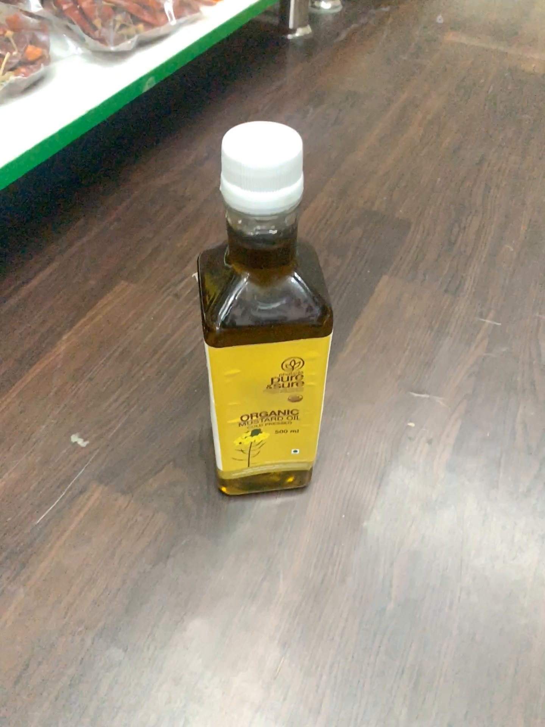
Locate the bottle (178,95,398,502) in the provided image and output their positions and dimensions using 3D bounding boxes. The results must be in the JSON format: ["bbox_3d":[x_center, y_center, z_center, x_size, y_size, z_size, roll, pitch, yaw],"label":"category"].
[{"bbox_3d":[0.000,-0.012,0.279,0.070,0.209,0.060,-5,49,-6],"label":"bottle"}]
